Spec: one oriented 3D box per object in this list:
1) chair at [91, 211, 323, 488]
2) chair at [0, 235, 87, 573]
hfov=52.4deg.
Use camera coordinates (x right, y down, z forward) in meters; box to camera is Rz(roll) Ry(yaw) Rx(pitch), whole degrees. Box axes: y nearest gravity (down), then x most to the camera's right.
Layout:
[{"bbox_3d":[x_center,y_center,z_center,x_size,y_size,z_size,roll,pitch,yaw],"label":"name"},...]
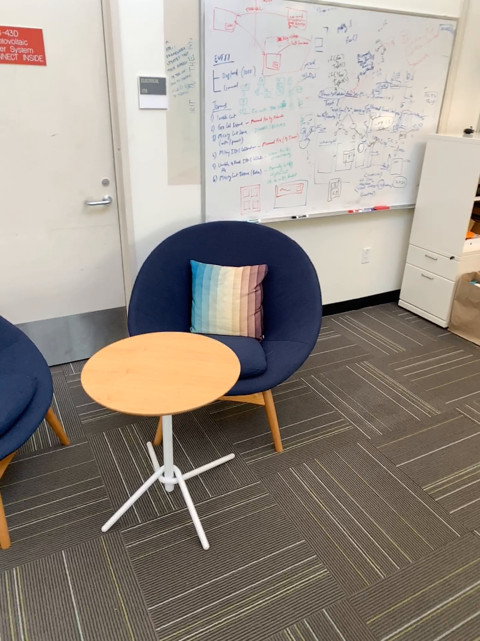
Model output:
[{"bbox_3d":[-0.083,0.055,2.466,0.831,0.945,0.985,7,25,12],"label":"chair"},{"bbox_3d":[-1.188,0.224,1.813,0.841,0.835,0.794,6,25,9],"label":"chair"}]
